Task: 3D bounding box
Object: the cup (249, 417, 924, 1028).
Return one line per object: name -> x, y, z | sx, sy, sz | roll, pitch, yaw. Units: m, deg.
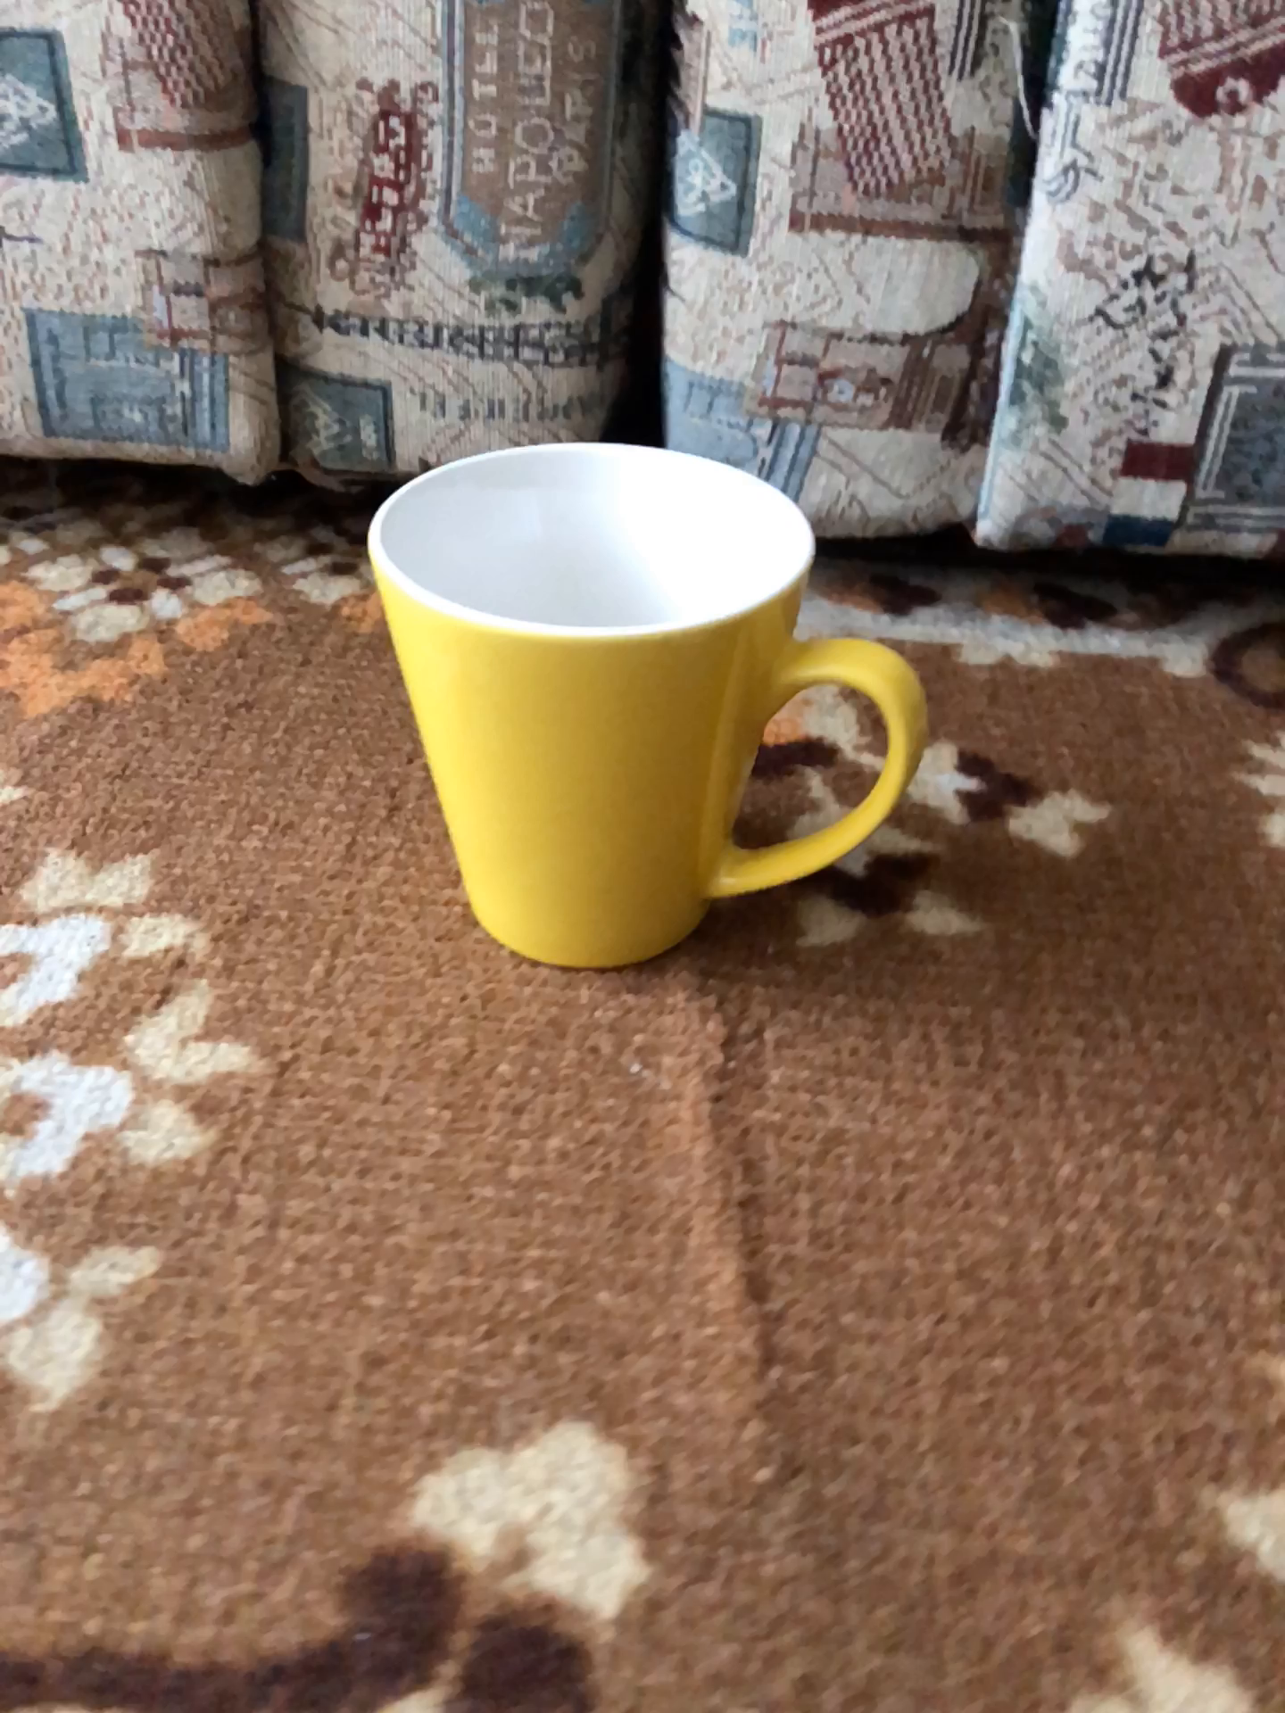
cup -> -0.005, -0.035, 0.322 | 0.125, 0.088, 0.098 | 7, 36, 7
